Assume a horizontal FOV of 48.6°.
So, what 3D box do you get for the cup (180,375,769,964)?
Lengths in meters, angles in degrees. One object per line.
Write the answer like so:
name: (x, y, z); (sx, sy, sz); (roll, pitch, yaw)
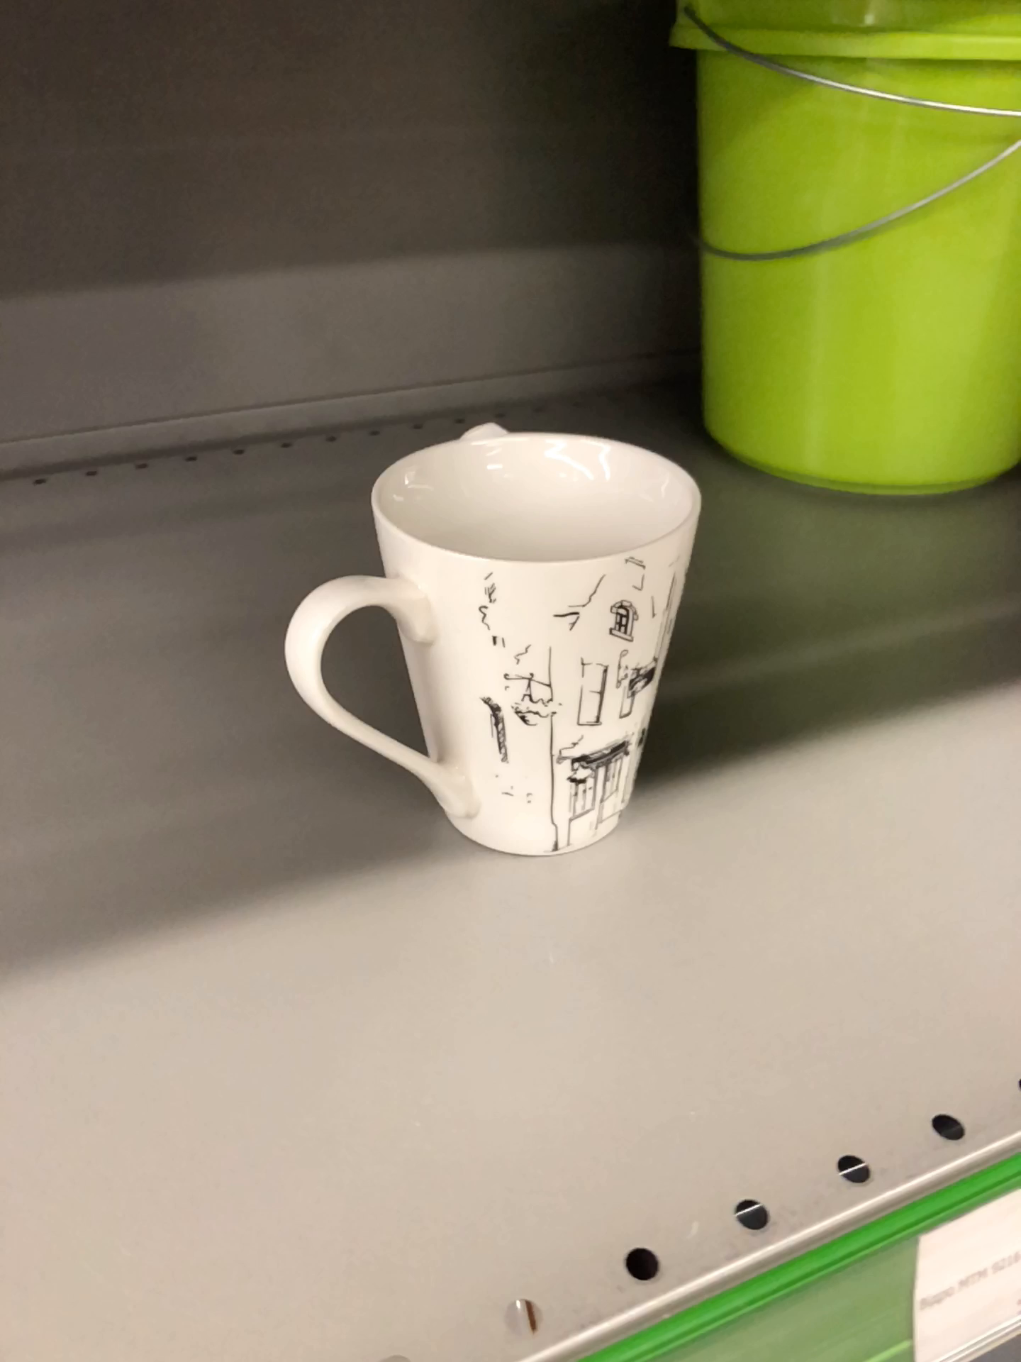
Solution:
cup: (-0.009, -0.012, 0.306); (0.114, 0.098, 0.091); (-23, 38, -31)
